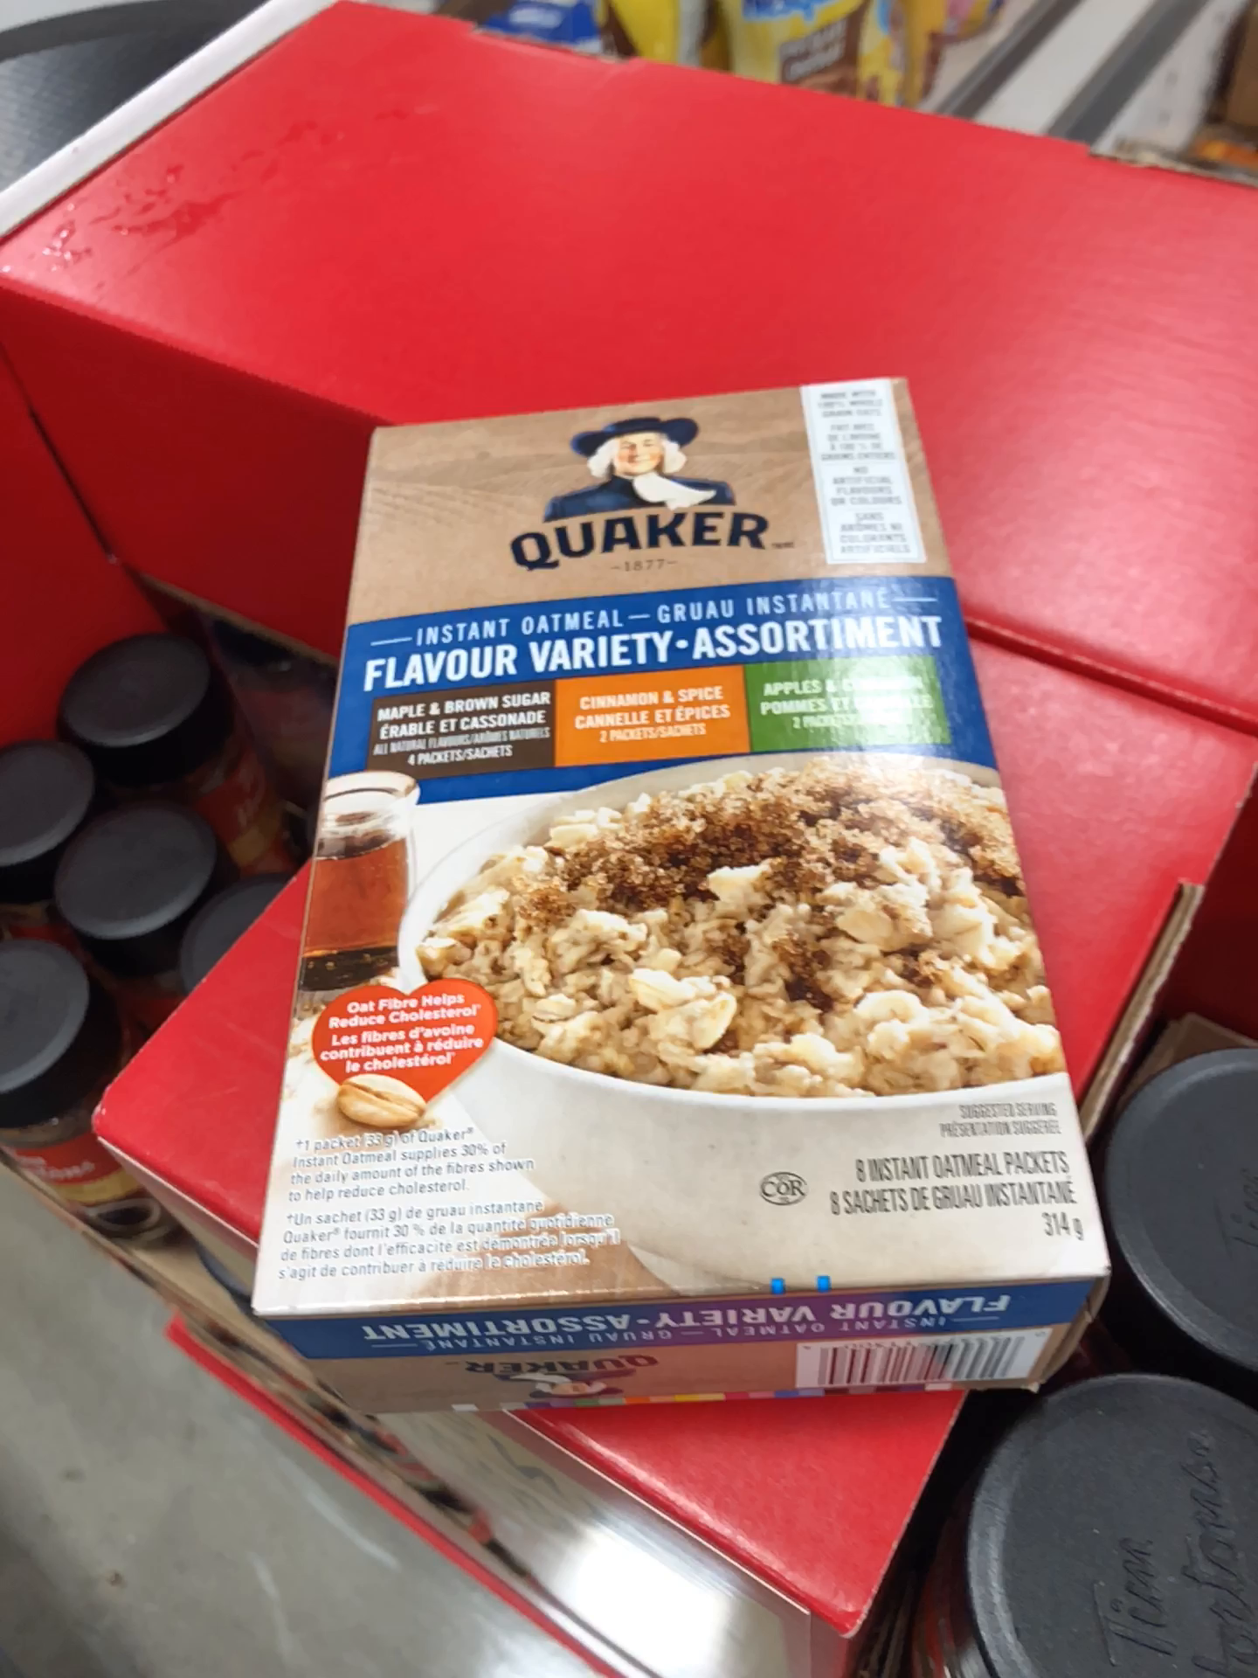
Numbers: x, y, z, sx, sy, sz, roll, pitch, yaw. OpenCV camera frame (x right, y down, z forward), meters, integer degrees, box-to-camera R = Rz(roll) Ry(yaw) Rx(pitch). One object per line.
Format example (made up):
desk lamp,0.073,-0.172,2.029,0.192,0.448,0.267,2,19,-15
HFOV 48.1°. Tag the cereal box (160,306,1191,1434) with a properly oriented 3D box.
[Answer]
cereal box,0.006,-0.004,0.279,0.140,0.070,0.211,-4,55,4
